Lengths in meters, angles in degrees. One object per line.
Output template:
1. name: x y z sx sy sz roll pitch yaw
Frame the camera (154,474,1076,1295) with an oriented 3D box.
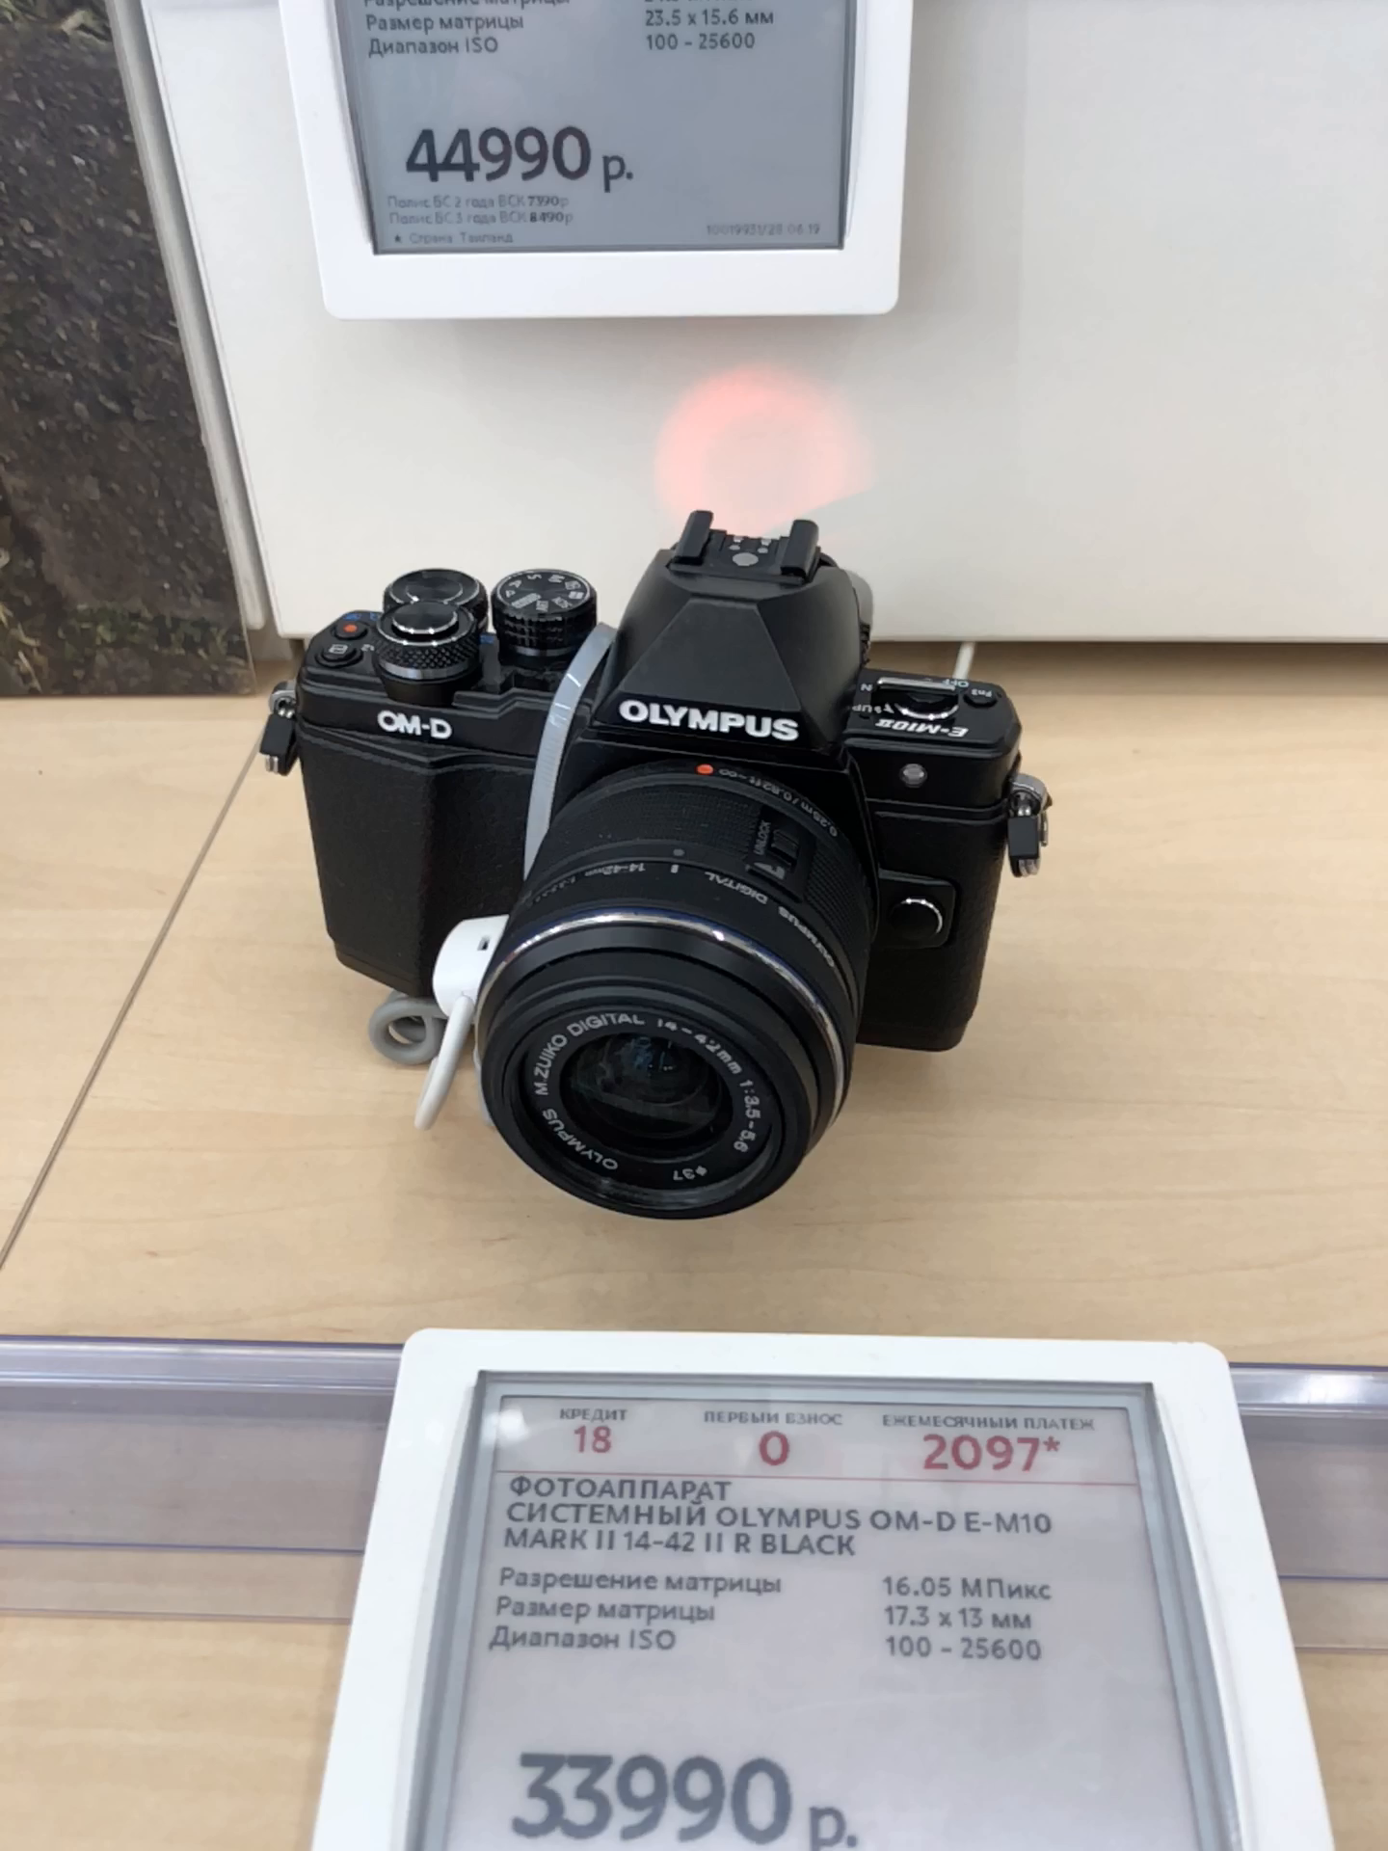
1. camera: -0.003 -0.012 0.246 0.112 0.079 0.101 4 39 8
